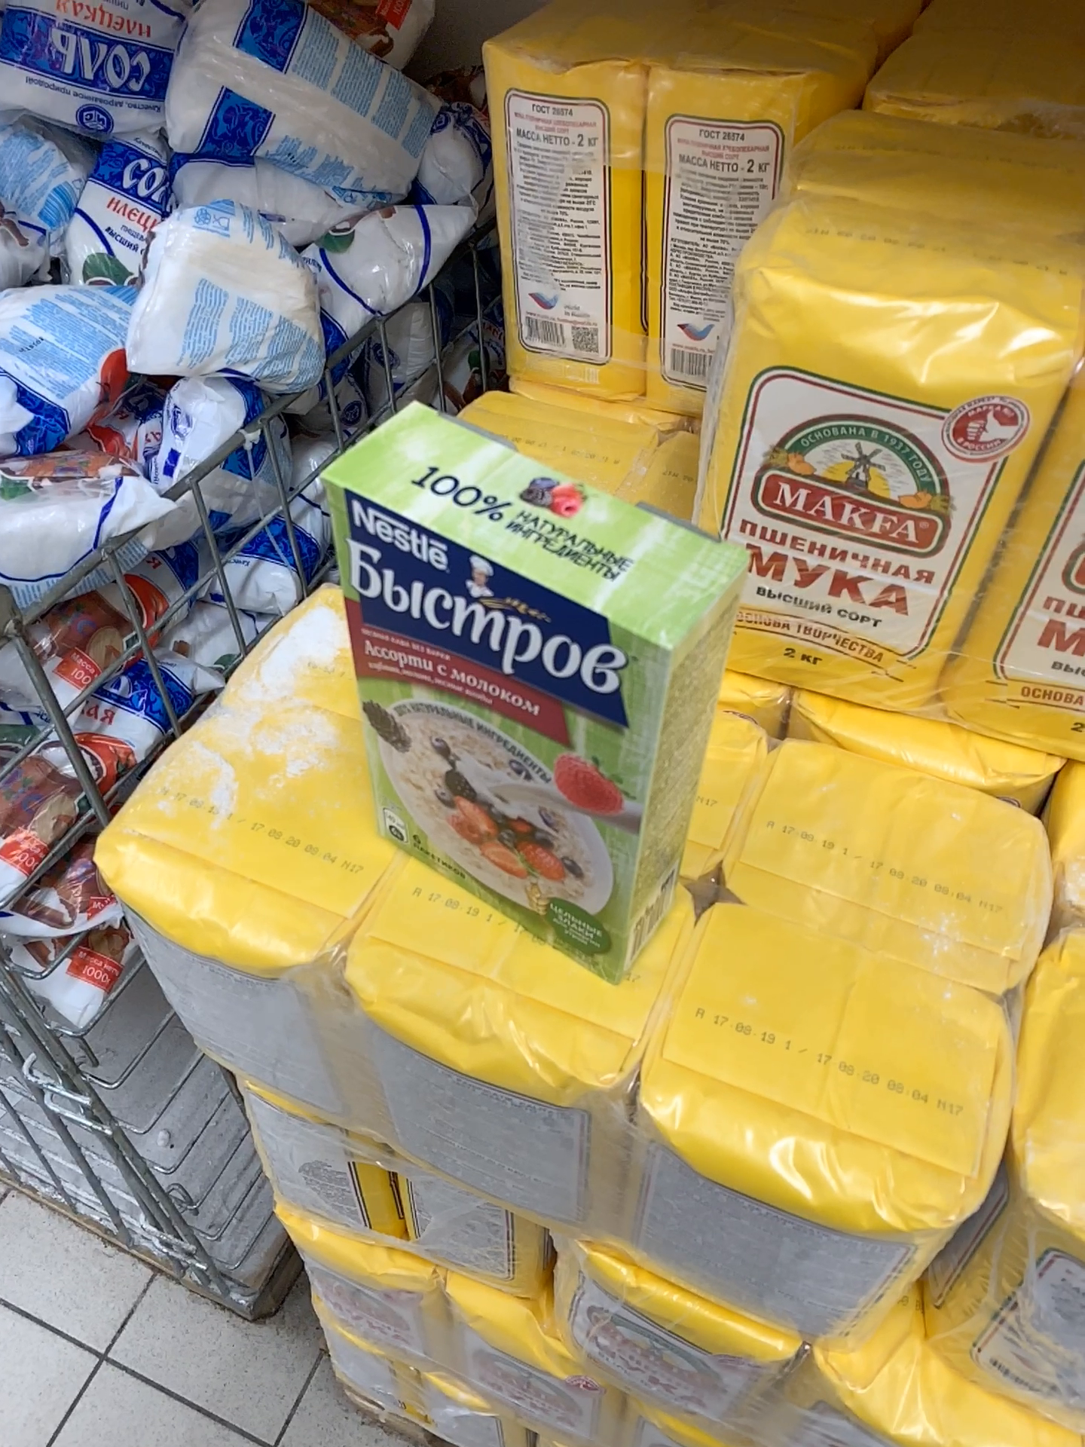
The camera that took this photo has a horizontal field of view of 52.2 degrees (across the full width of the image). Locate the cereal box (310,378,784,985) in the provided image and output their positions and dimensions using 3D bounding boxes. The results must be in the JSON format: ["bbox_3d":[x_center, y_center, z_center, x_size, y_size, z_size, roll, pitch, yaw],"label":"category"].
[{"bbox_3d":[-0.001,-0.004,0.366,0.120,0.179,0.050,29,57,21],"label":"cereal box"}]
